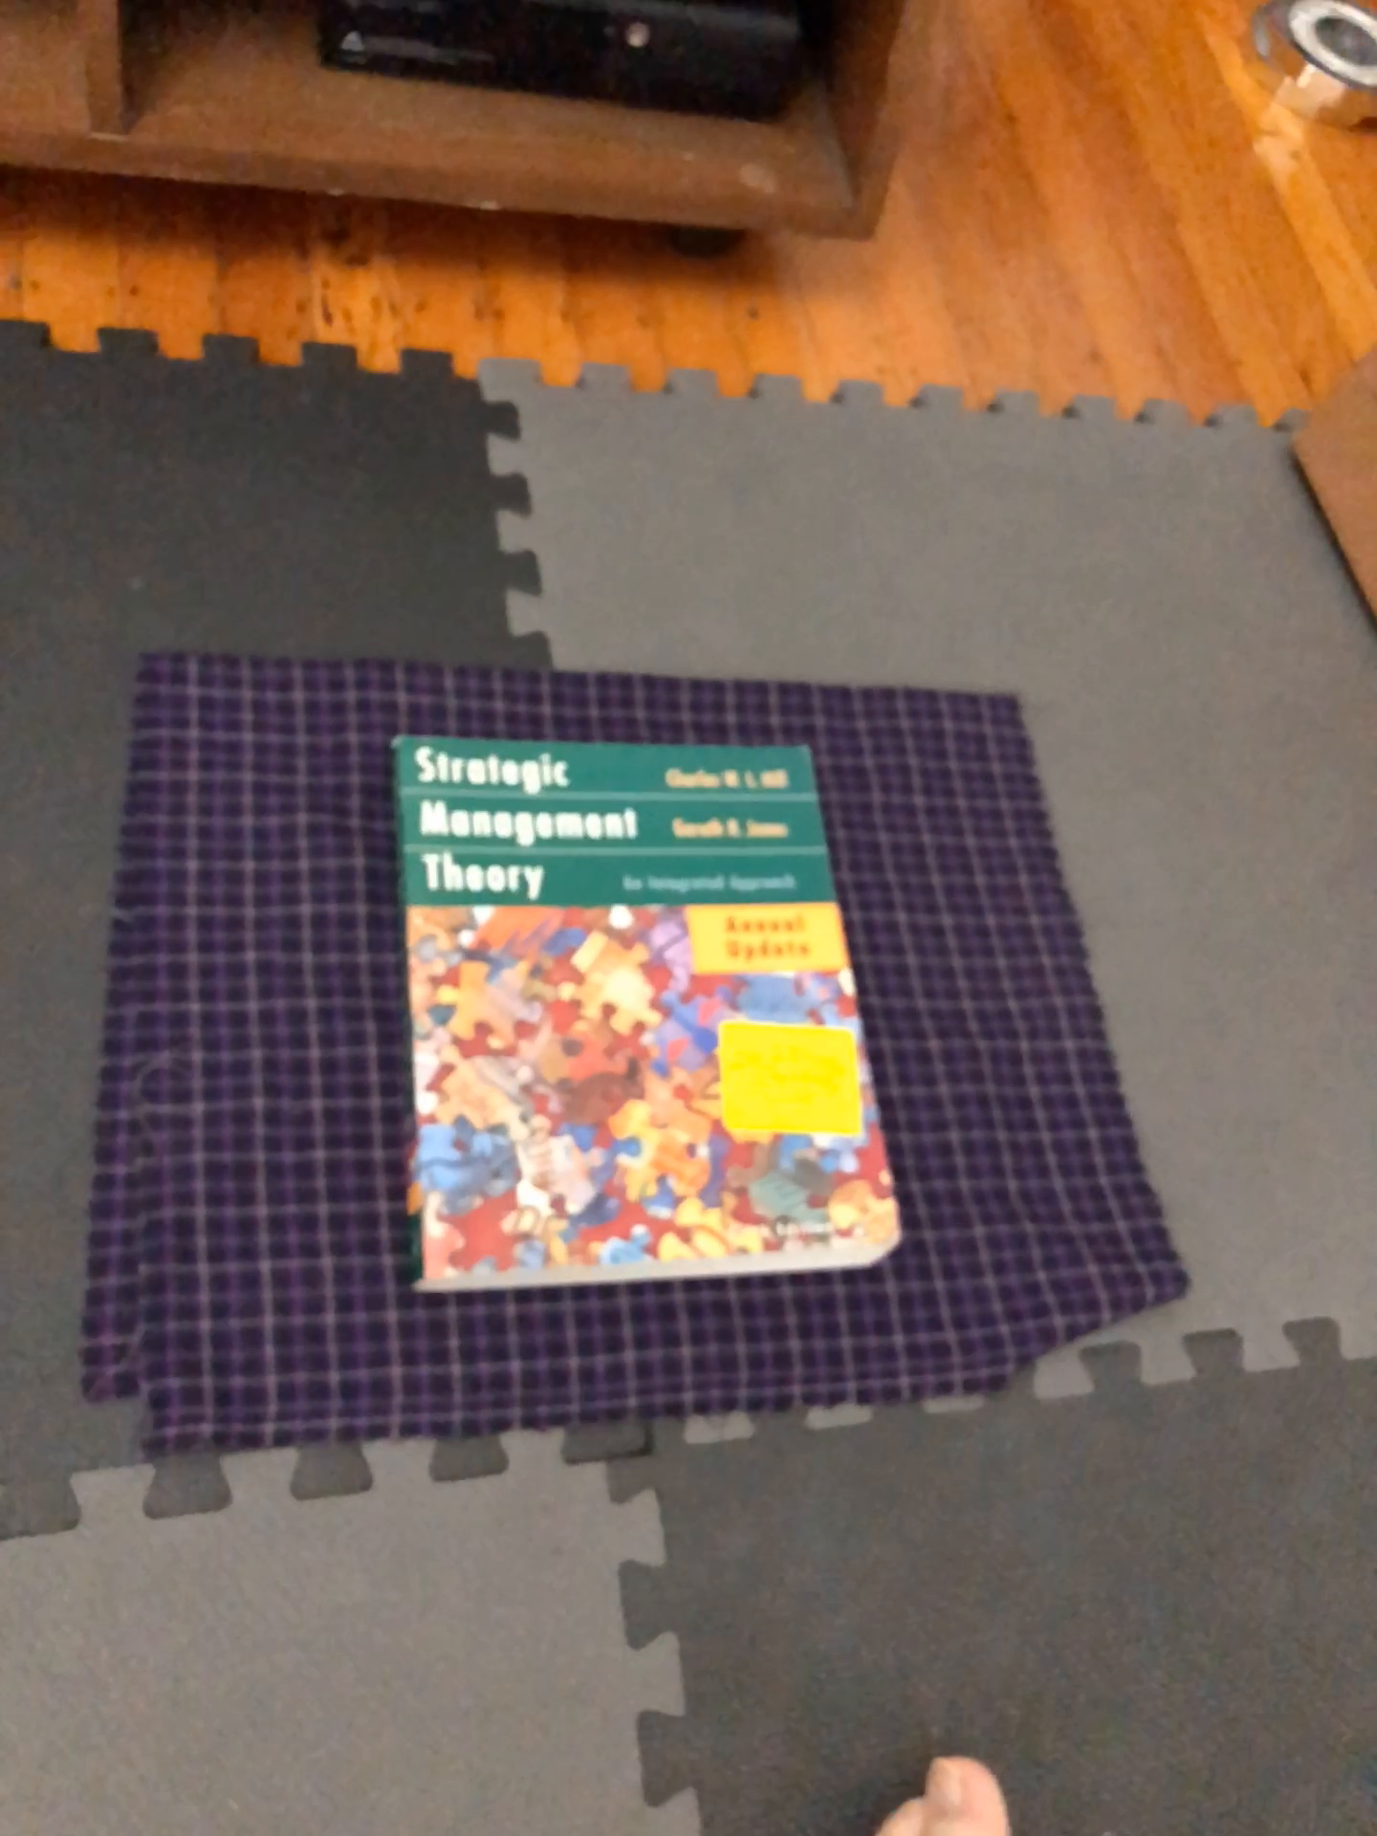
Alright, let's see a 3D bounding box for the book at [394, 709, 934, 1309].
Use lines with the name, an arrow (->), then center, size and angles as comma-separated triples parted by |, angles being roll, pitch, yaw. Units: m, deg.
book -> -0.020, 0.034, 0.736 | 0.230, 0.040, 0.281 | 0, 65, -15
